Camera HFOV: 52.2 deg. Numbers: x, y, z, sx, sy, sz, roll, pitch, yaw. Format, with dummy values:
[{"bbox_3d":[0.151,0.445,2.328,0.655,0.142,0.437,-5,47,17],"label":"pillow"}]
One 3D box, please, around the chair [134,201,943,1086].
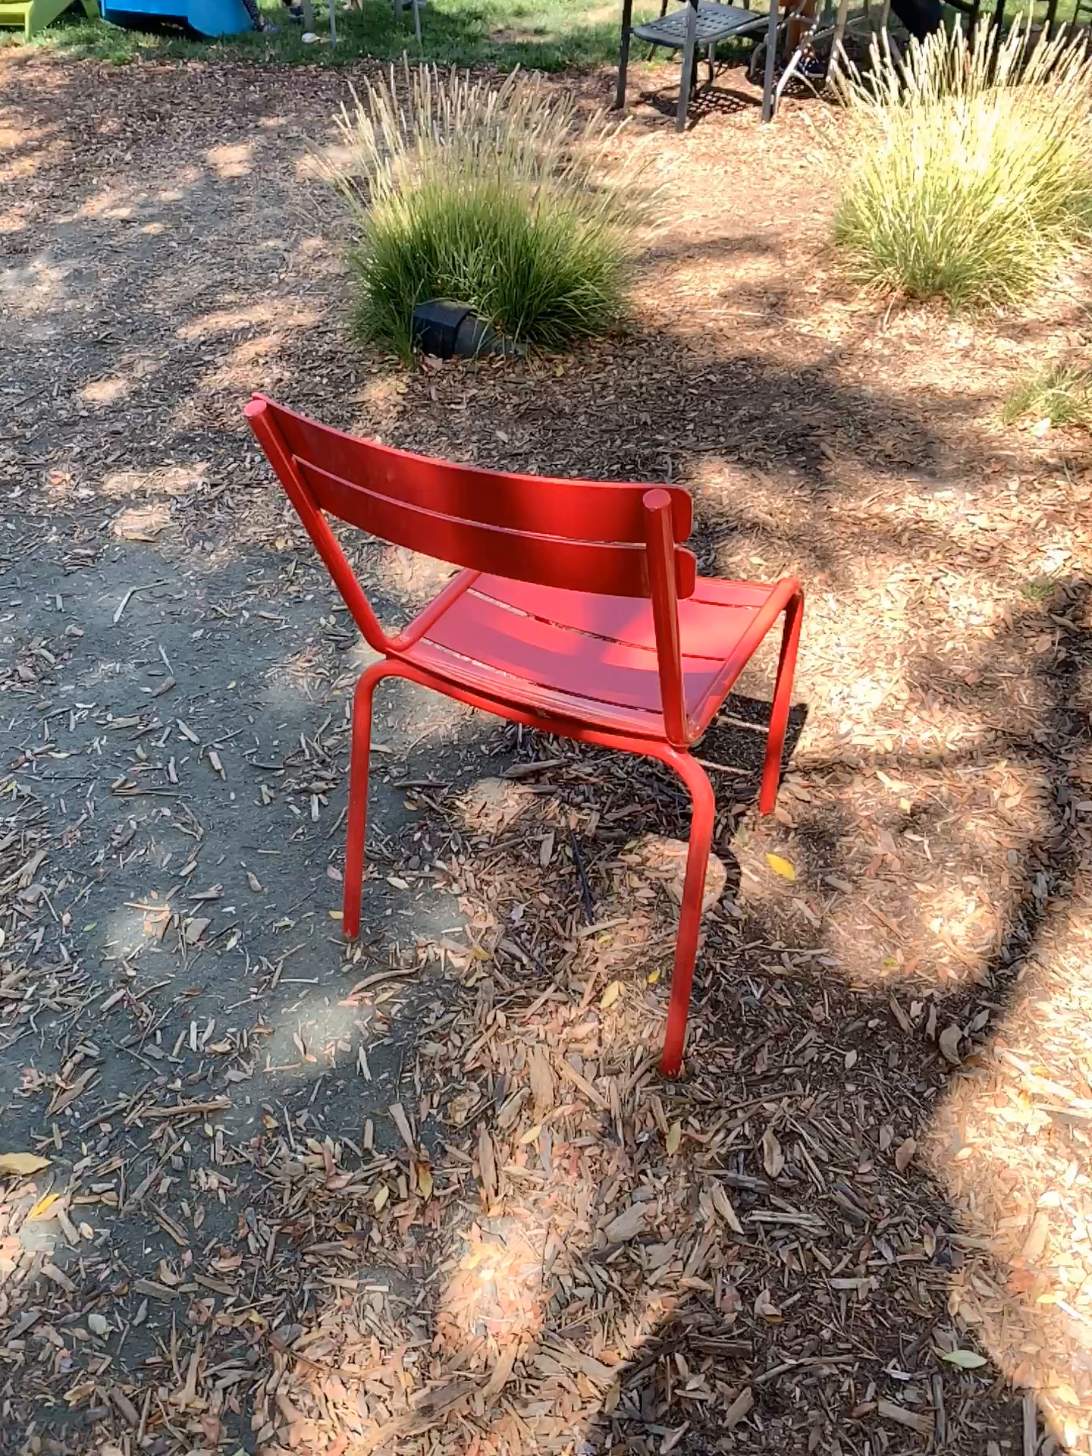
[{"bbox_3d":[0.037,-0.106,1.390,0.612,0.786,0.572,19,50,21],"label":"chair"}]
